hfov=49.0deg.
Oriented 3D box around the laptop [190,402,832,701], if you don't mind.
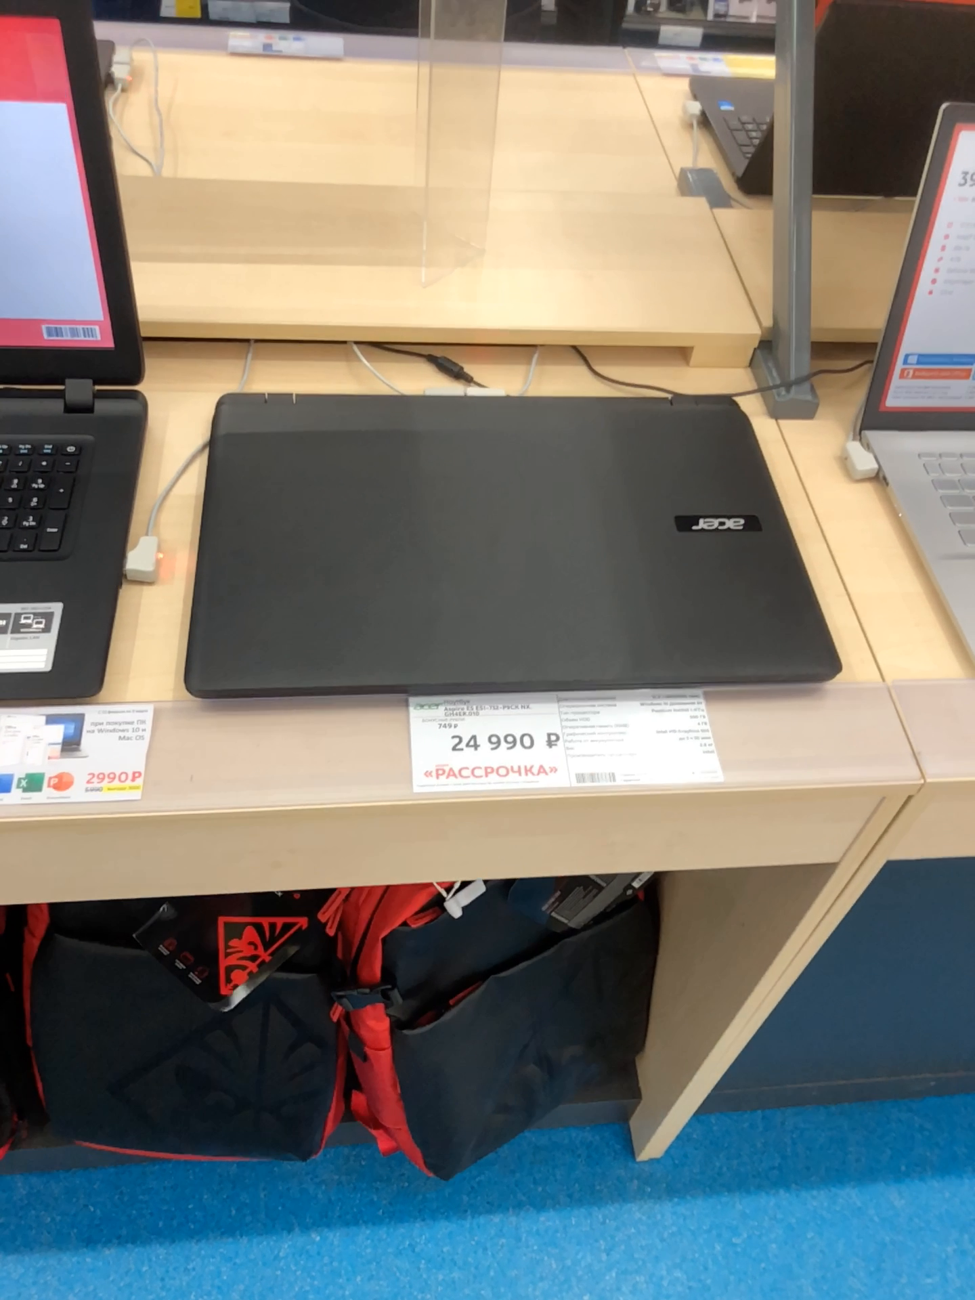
[{"bbox_3d":[0.011,-0.084,0.760,0.410,0.005,0.279,-1,51,-8],"label":"laptop"}]
